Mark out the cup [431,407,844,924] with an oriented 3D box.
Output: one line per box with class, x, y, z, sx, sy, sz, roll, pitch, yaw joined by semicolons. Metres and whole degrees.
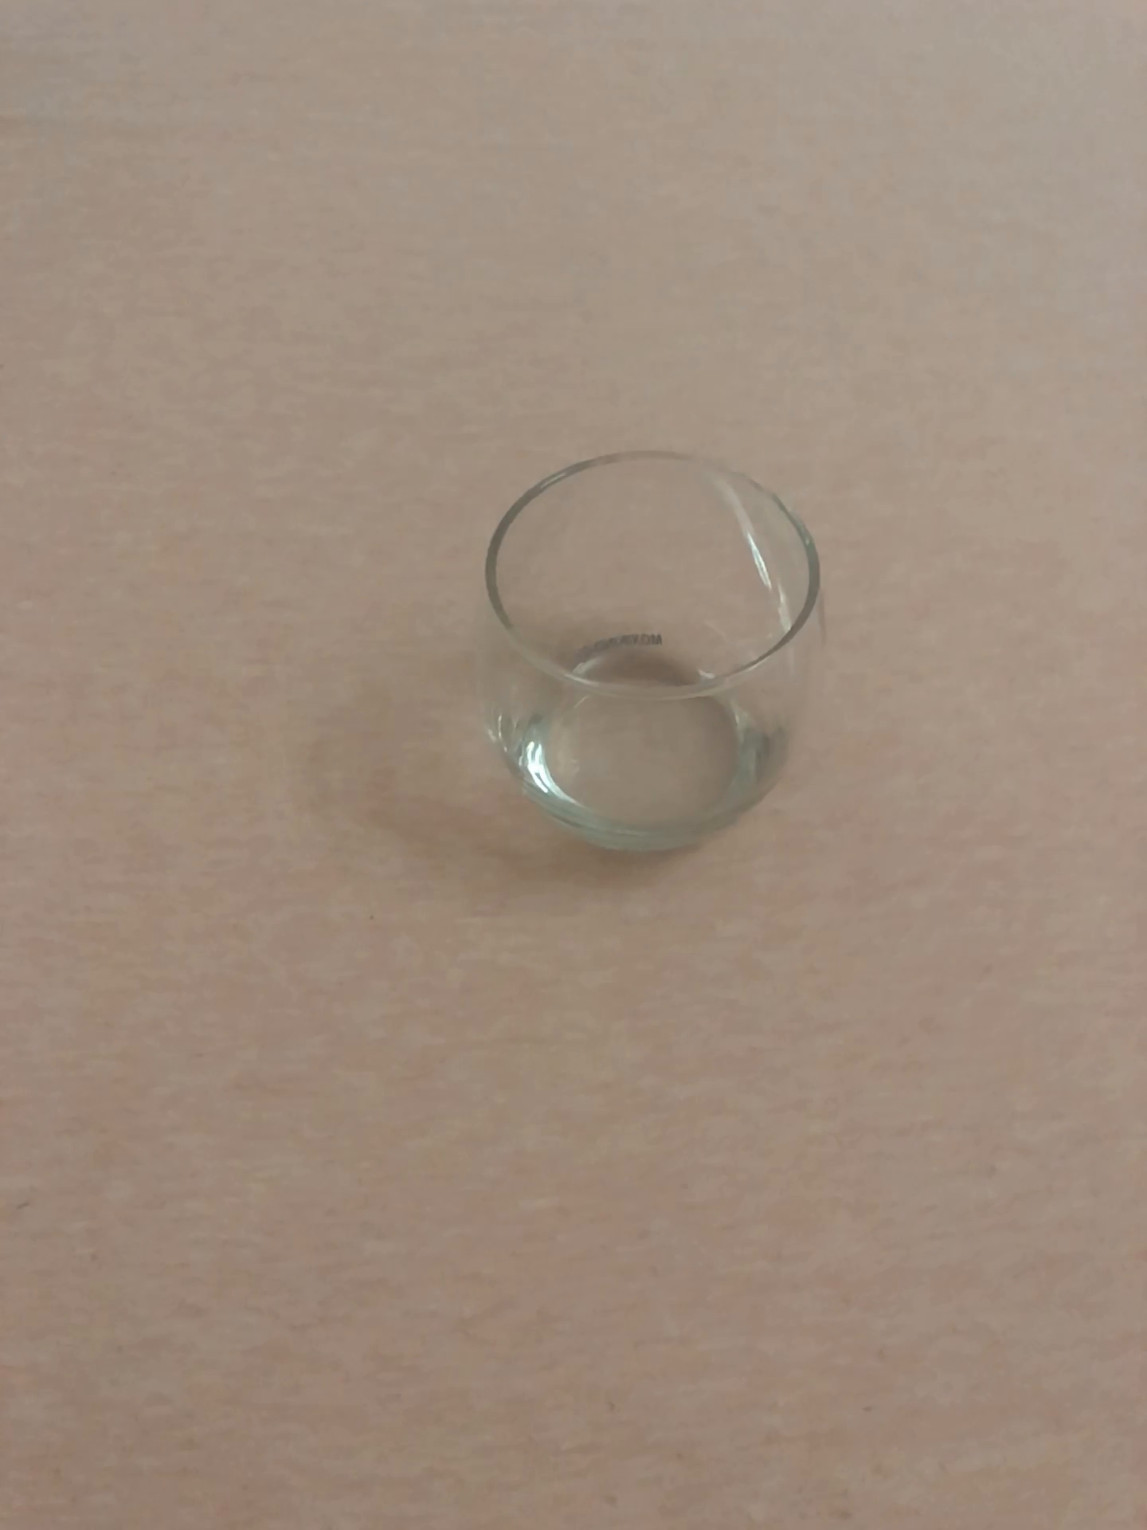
cup;0.020;-0.025;0.354;0.090;0.100;0.090;0;54;1
